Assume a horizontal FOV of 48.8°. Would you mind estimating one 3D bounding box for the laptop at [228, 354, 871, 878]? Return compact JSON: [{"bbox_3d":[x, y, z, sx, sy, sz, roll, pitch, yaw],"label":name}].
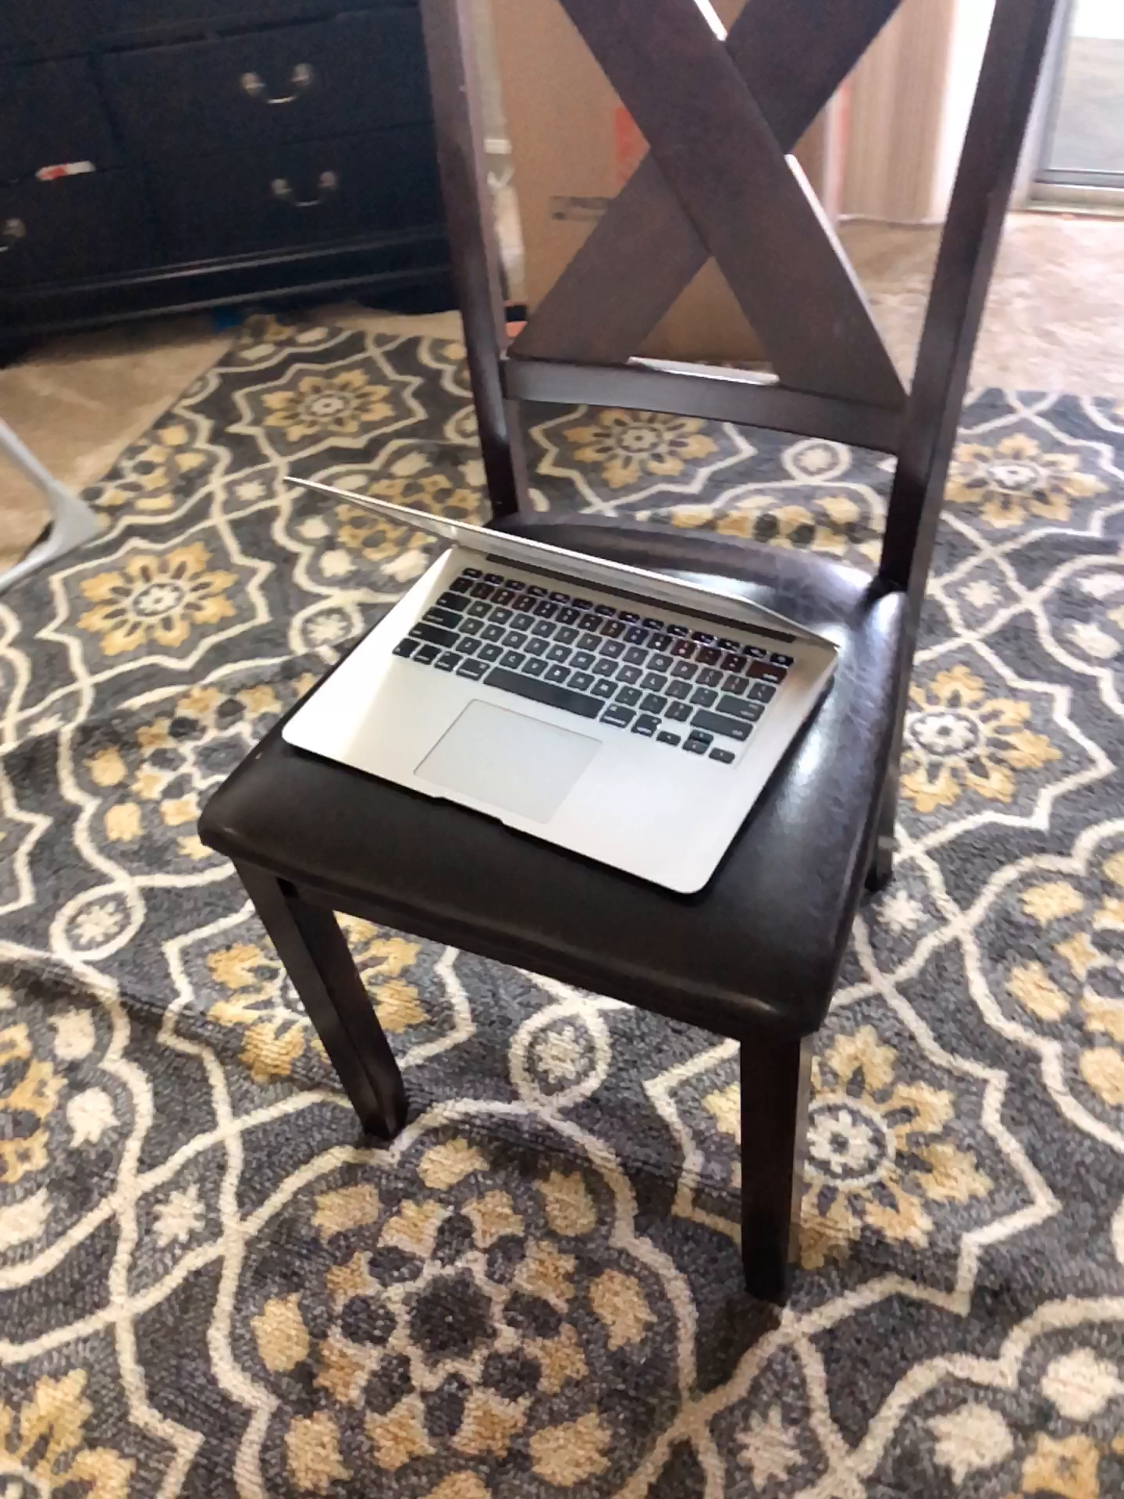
[{"bbox_3d":[-0.001,-0.097,0.767,0.304,0.154,0.216,20,52,25],"label":"laptop"}]
